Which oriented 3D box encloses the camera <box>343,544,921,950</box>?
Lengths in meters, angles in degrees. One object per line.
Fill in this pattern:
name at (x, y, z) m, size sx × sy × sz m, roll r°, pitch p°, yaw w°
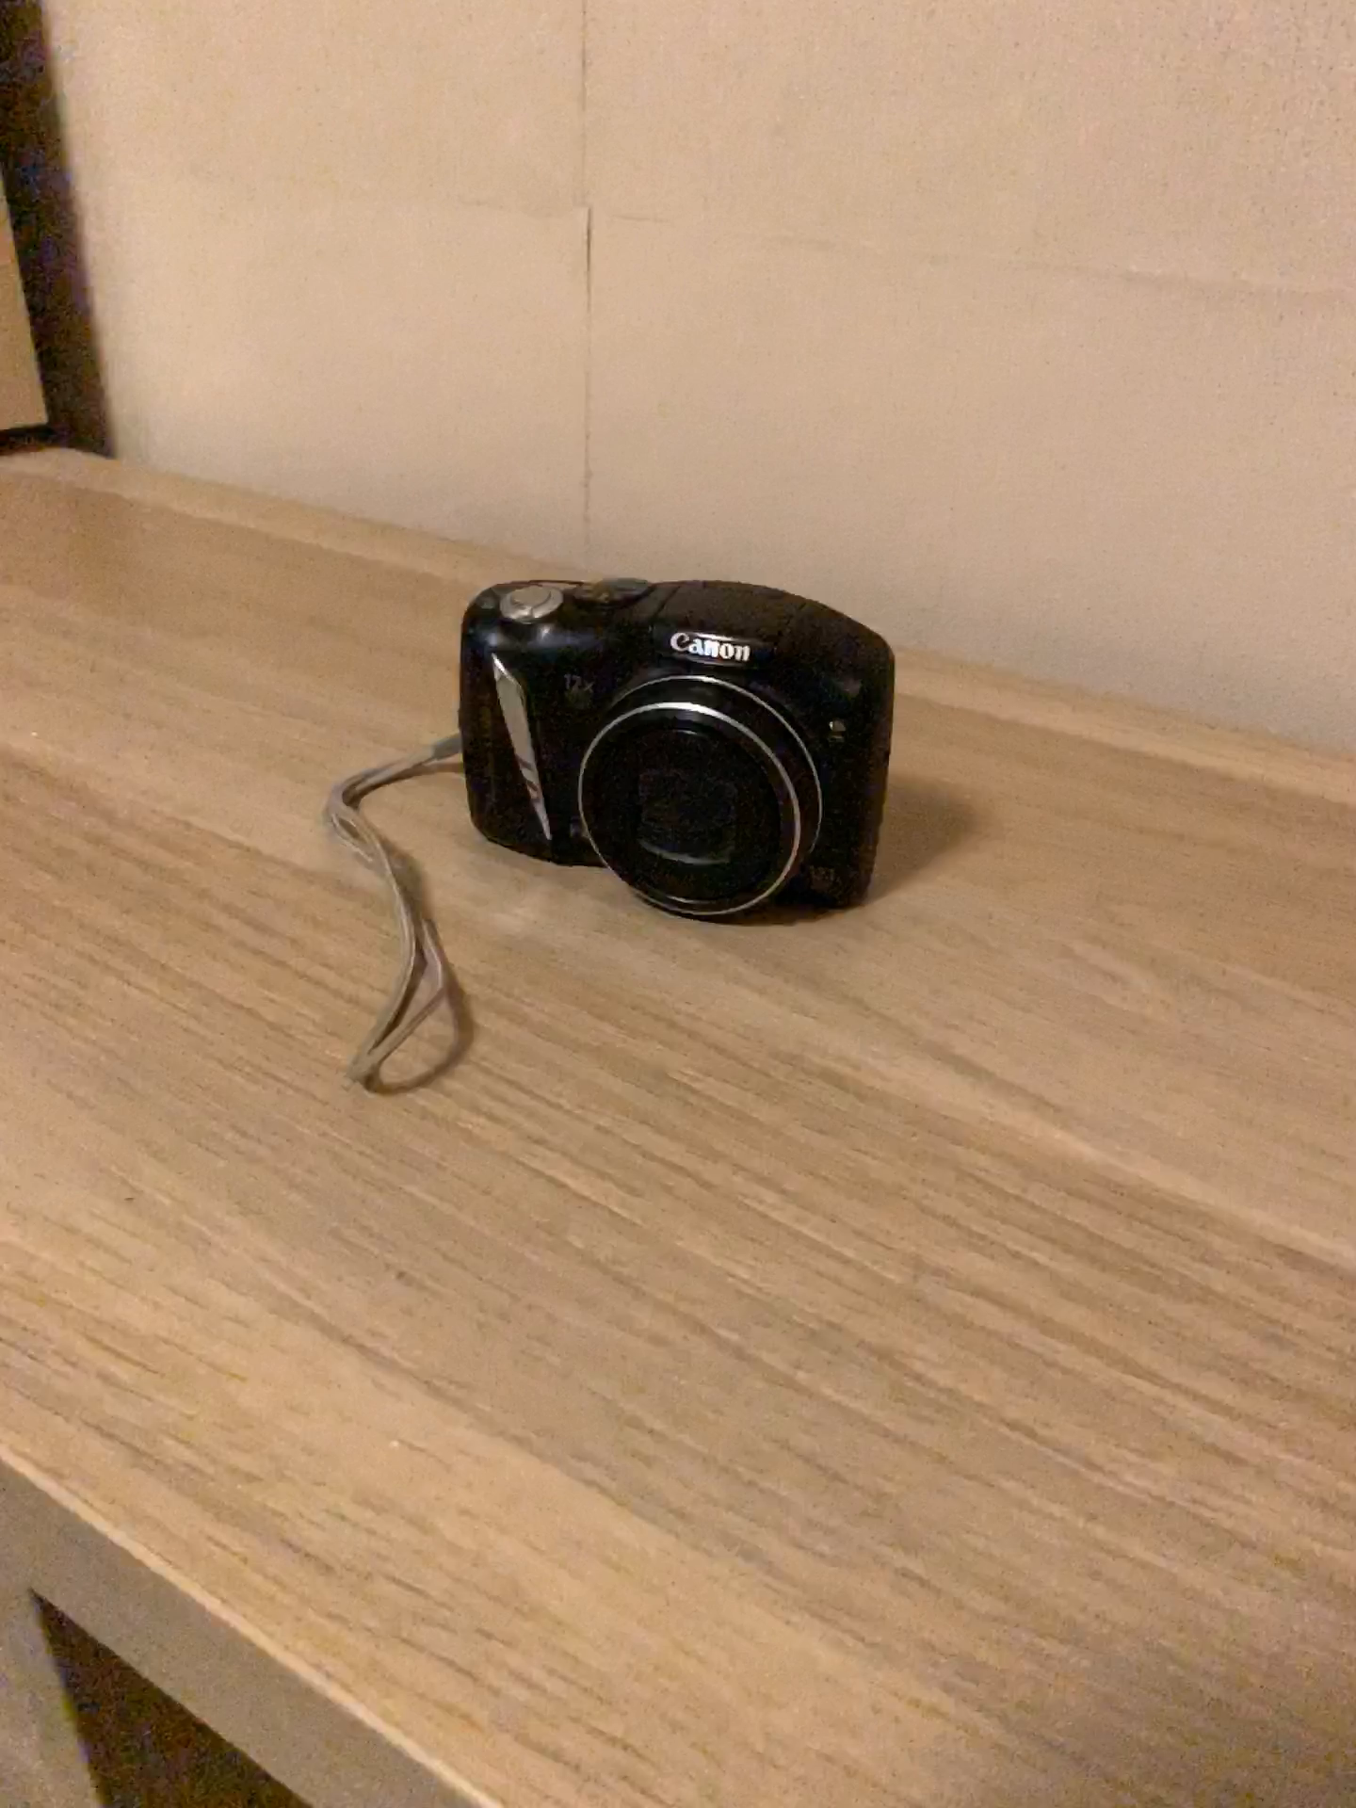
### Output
camera at (-0.009, -0.042, 0.341) m, size 0.120 × 0.059 × 0.069 m, roll 10°, pitch 31°, yaw 12°
